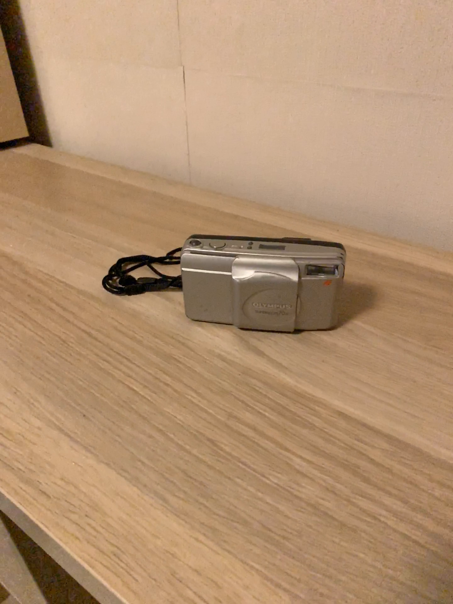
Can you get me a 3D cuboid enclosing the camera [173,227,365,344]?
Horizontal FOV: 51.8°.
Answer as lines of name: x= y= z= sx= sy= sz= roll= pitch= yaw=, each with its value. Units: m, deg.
camera: x=0.030 y=-0.013 z=0.340 sx=0.126 sy=0.059 sz=0.046 roll=5 pitch=35 yaw=8
